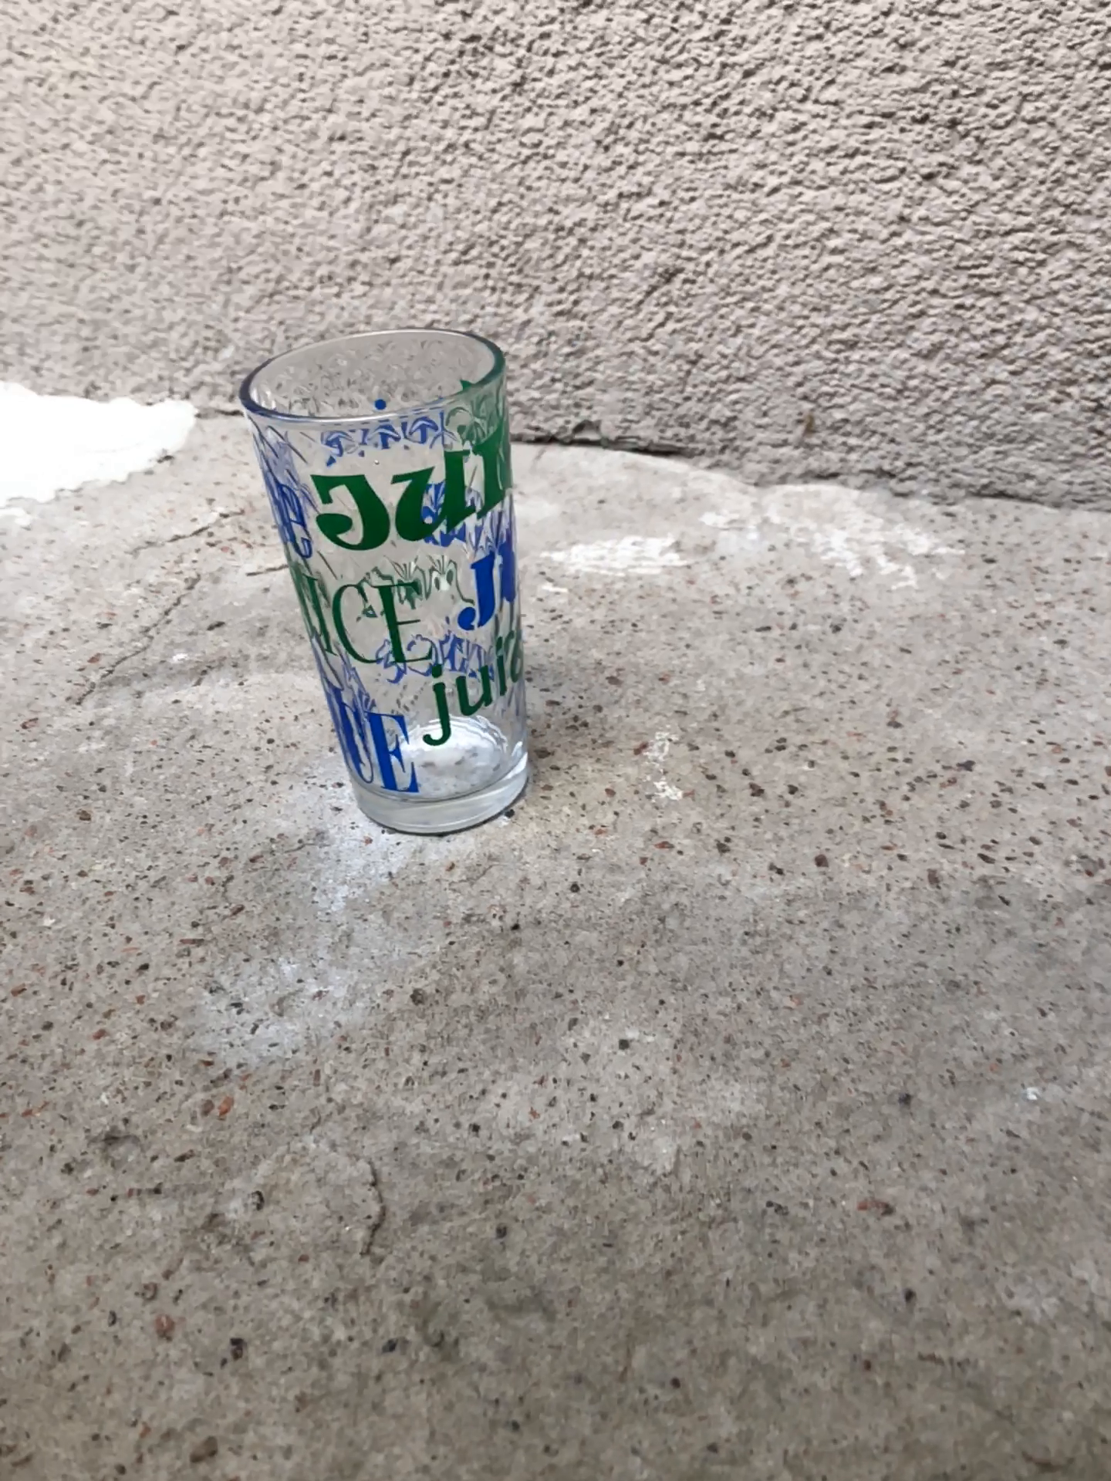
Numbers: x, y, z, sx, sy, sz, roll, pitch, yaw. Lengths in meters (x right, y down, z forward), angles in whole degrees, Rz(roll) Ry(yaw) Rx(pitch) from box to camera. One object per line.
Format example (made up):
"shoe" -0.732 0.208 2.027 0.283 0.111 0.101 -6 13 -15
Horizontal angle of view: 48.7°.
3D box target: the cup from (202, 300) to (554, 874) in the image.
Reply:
"cup" -0.045 -0.040 0.326 0.067 0.125 0.066 -3 35 2
